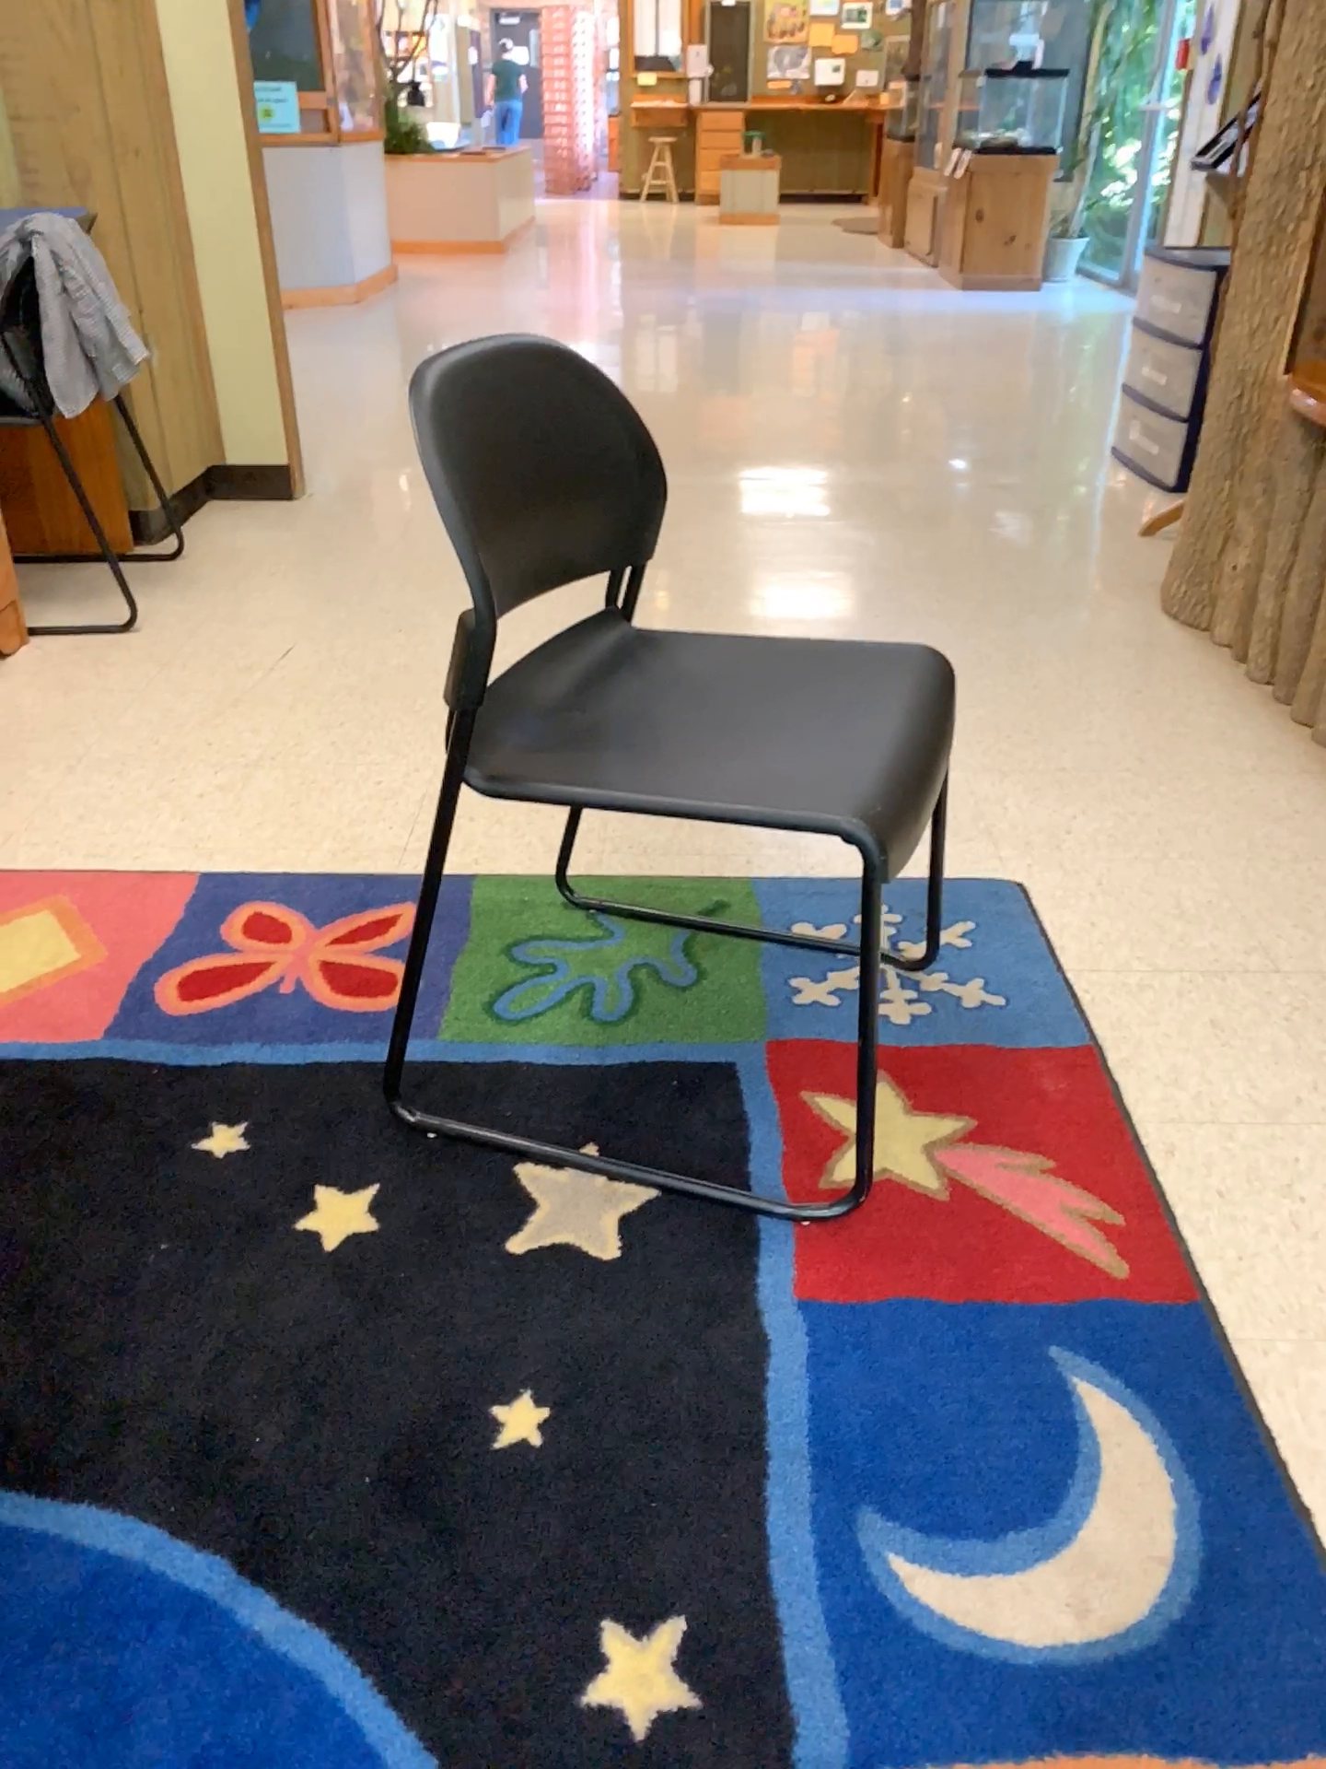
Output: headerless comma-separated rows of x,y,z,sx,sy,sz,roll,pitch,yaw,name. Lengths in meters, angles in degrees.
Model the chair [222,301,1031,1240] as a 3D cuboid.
0.010,-0.174,1.487,0.611,0.775,0.593,10,31,16,chair
